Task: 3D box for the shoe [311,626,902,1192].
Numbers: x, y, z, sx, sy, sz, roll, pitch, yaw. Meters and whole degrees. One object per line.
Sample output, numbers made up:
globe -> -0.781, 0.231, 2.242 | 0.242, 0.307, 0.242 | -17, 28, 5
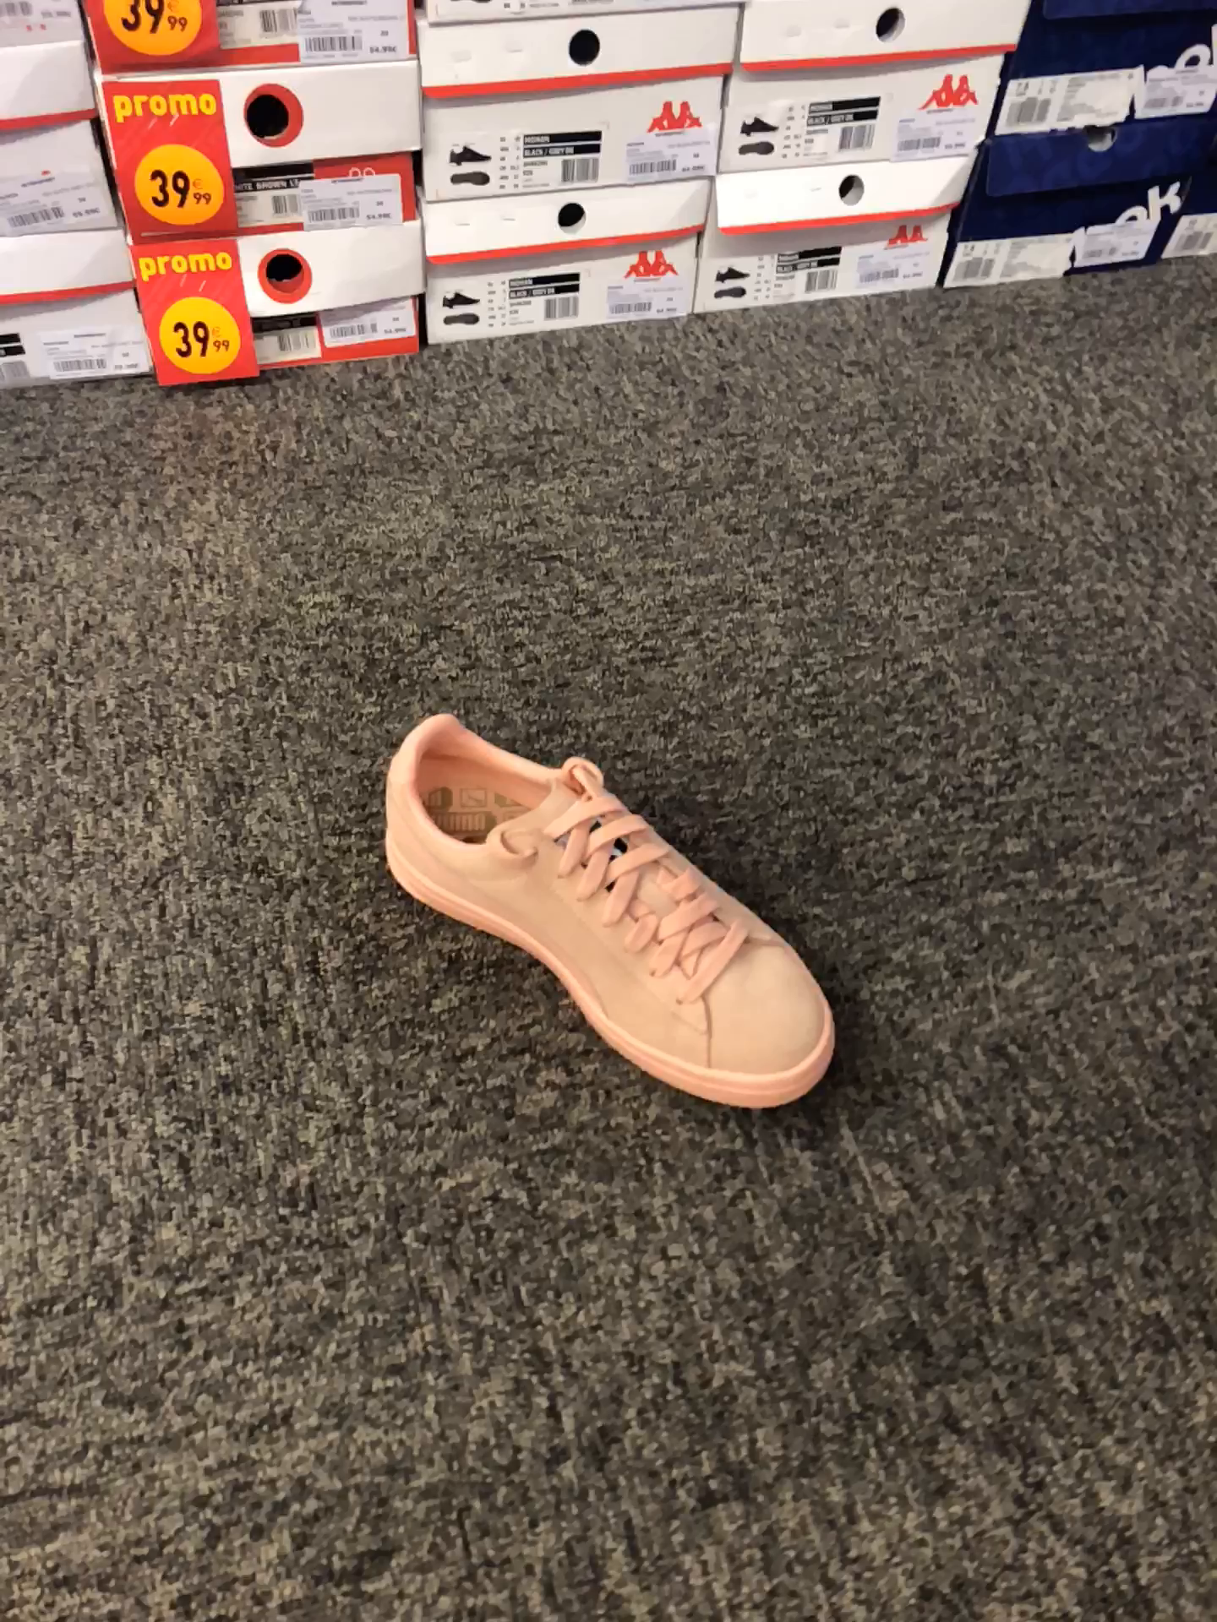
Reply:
shoe -> -0.009, 0.040, 0.603 | 0.253, 0.090, 0.093 | 38, 58, 15
